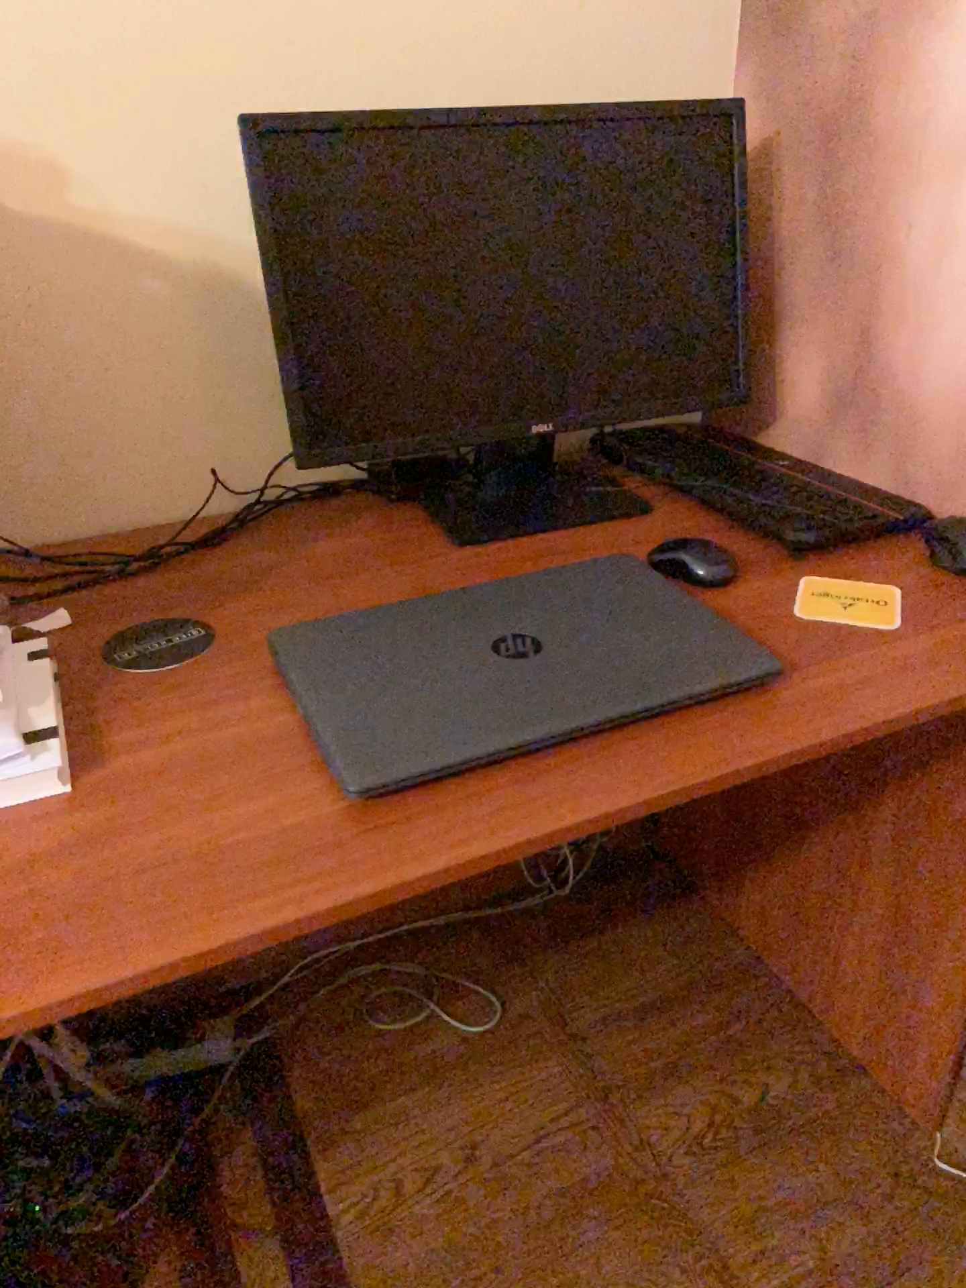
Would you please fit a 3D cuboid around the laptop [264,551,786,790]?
[{"bbox_3d":[0.026,0.003,0.835,0.369,0.005,0.248,-14,32,-20],"label":"laptop"}]
